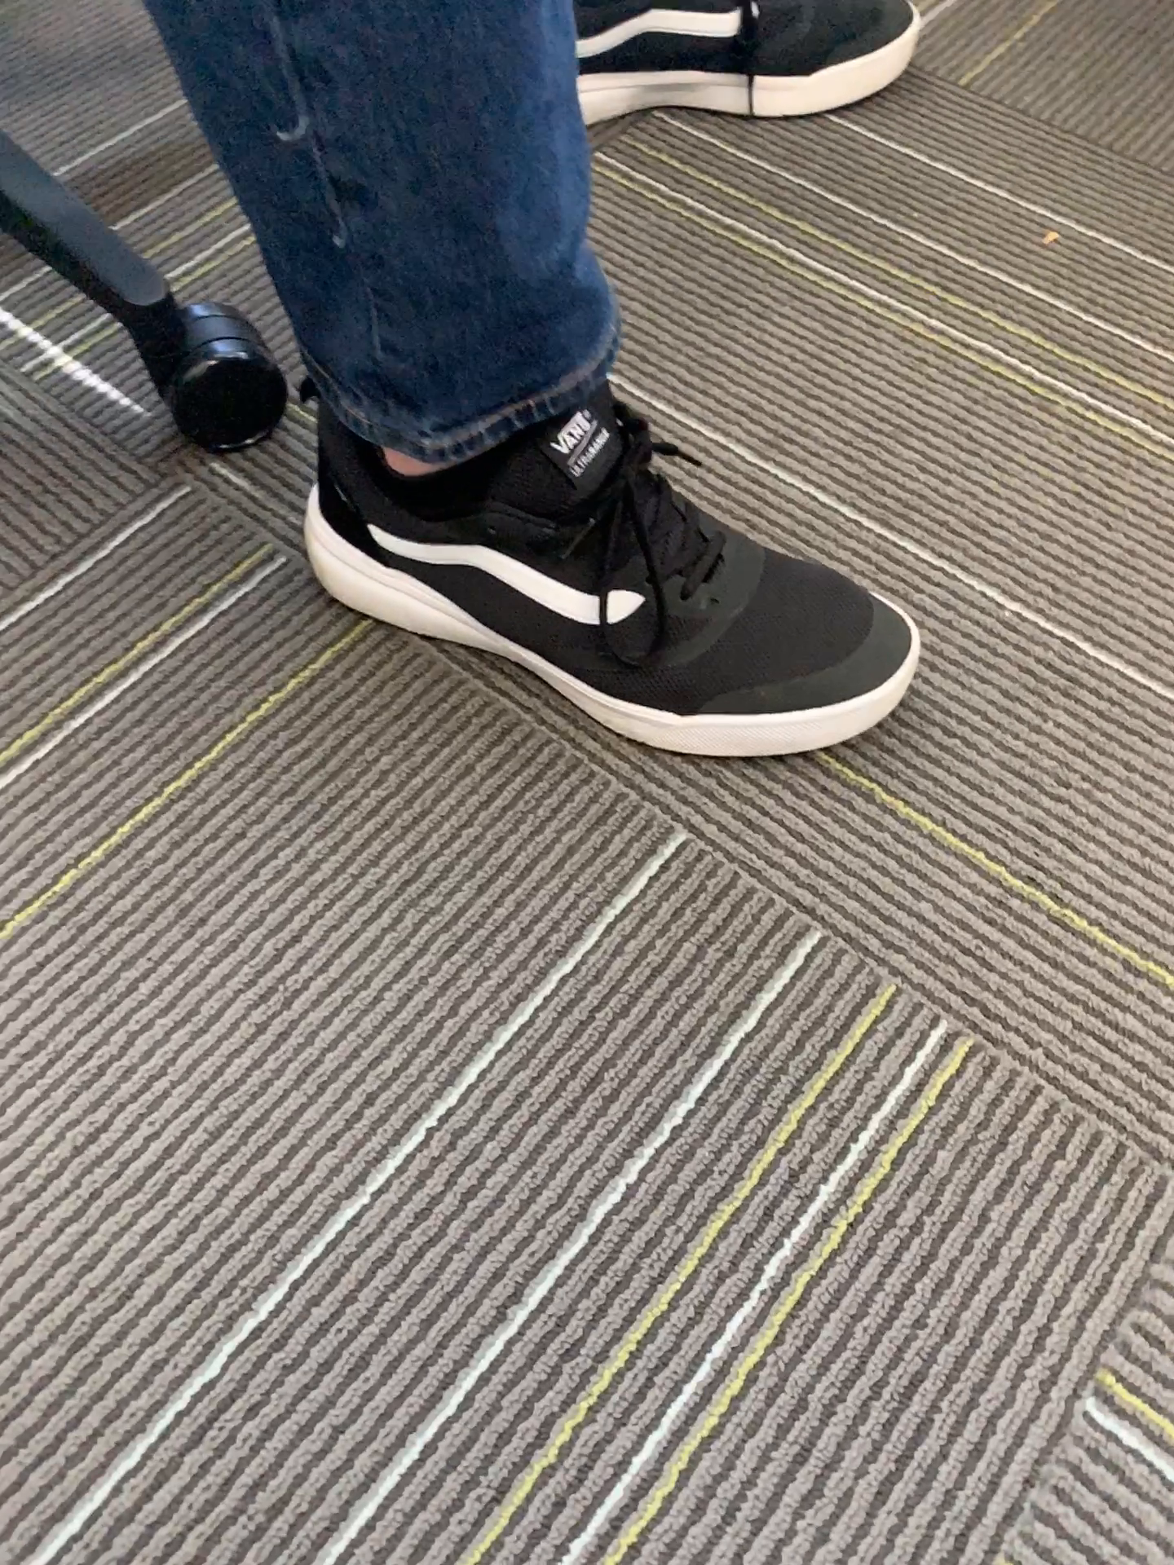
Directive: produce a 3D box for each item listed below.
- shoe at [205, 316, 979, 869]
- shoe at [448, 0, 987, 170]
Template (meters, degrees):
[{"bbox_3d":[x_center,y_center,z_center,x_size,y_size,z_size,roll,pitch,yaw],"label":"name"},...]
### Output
[{"bbox_3d":[0.000,-0.094,0.581,0.320,0.120,0.120,22,62,12],"label":"shoe"},{"bbox_3d":[0.078,-0.513,0.803,0.320,0.110,0.120,-8,60,-5],"label":"shoe"}]
